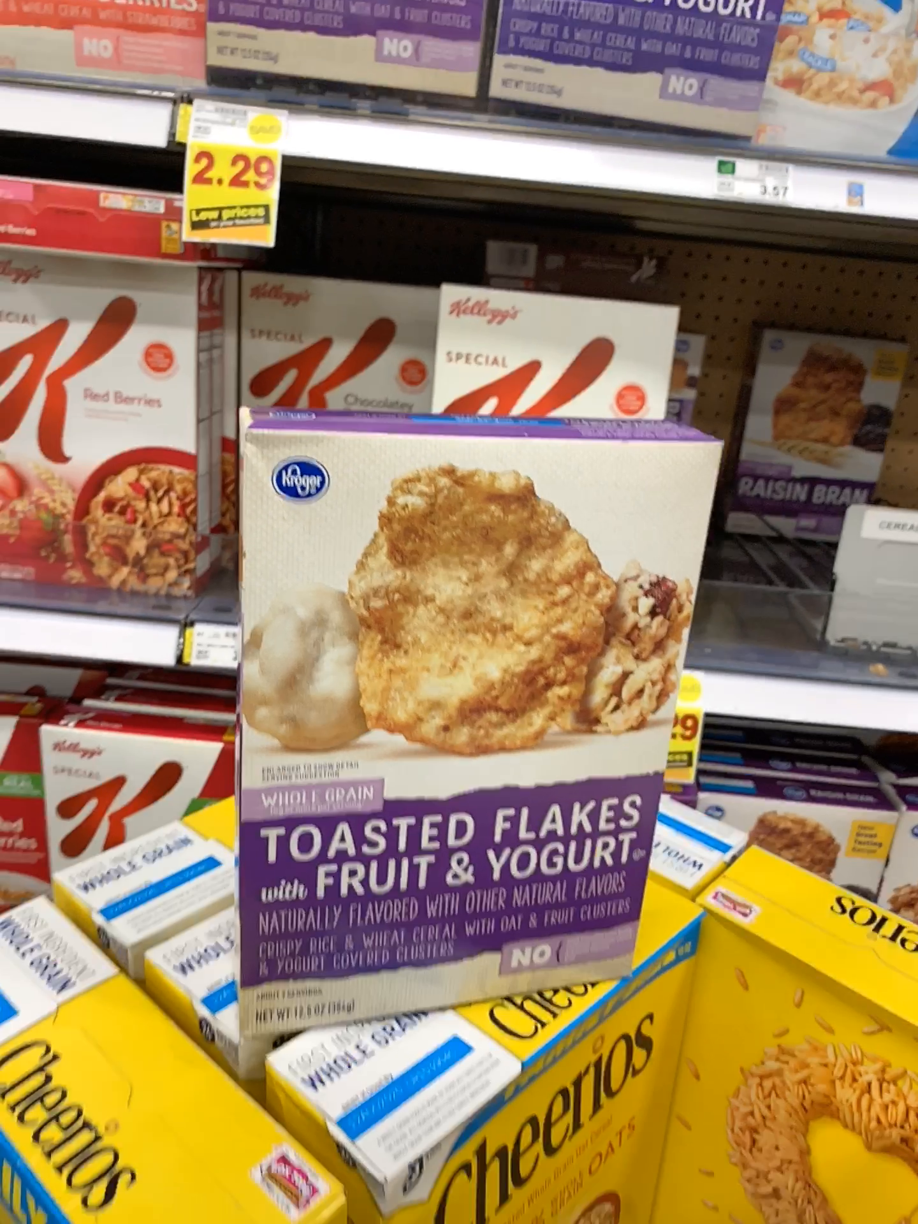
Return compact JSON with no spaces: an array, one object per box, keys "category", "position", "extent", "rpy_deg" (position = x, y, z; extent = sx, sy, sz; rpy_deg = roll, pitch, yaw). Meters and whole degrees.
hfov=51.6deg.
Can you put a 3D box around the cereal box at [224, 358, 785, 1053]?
[{"category":"cereal box","position":[0.007,0.040,0.400],"extent":[0.200,0.269,0.060],"rpy_deg":[-2,21,-19]}]
